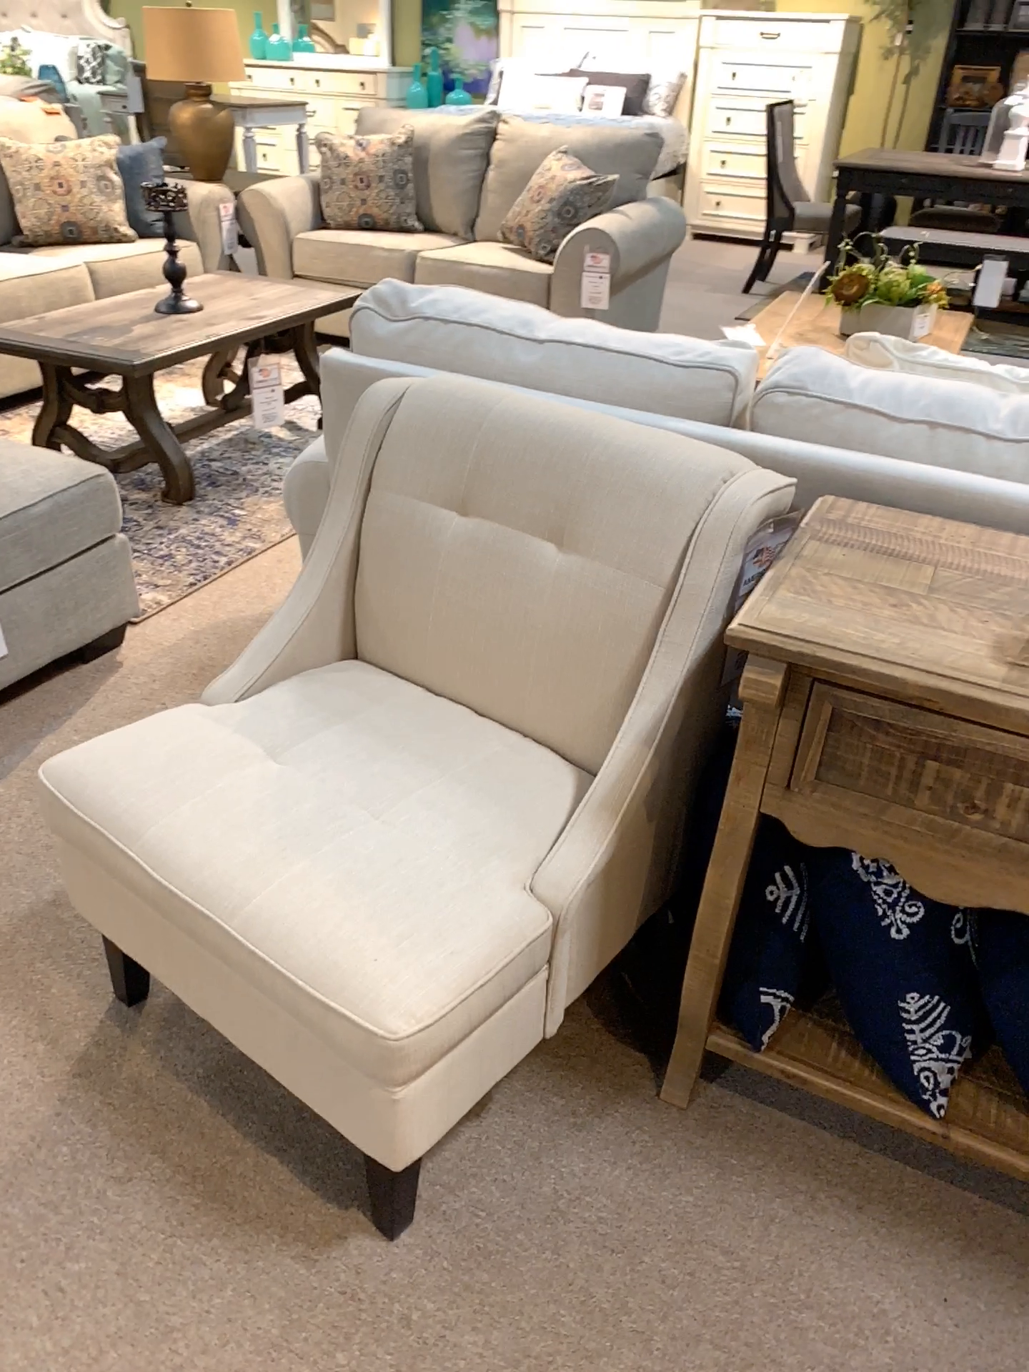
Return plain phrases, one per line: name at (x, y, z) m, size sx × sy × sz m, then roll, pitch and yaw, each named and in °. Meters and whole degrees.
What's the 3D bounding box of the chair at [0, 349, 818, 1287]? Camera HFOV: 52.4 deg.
chair at (-0.154, 0.078, 1.450) m, size 0.715 × 0.800 × 0.772 m, roll 25°, pitch 38°, yaw 32°
